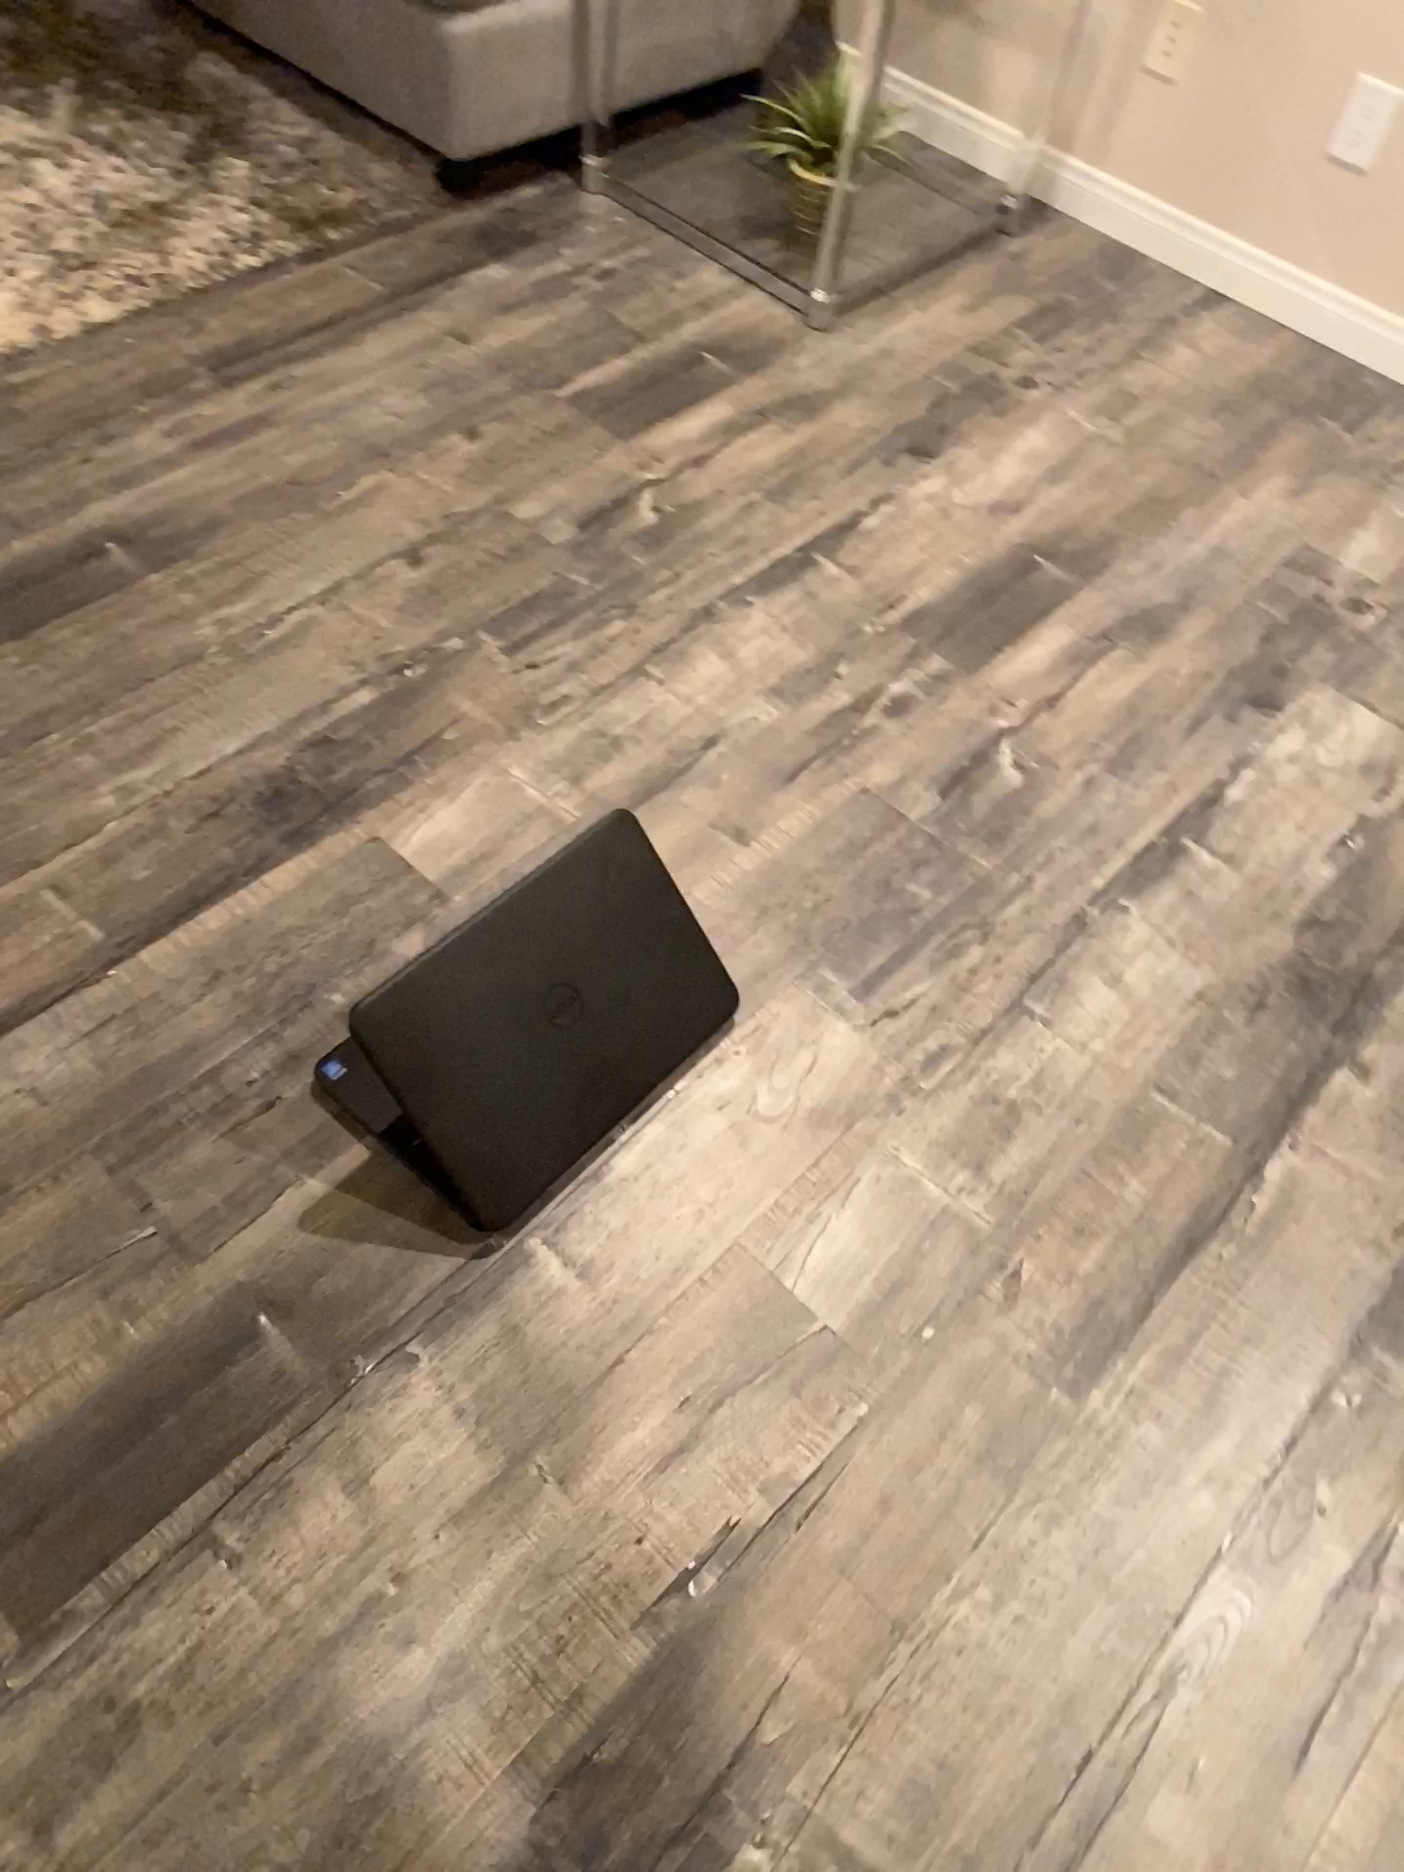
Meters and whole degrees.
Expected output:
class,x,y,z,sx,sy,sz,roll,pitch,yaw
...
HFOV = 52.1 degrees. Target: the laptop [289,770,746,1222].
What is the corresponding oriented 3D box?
class,x,y,z,sx,sy,sz,roll,pitch,yaw
laptop,-0.170,0.049,1.391,0.231,0.170,0.353,38,57,18
